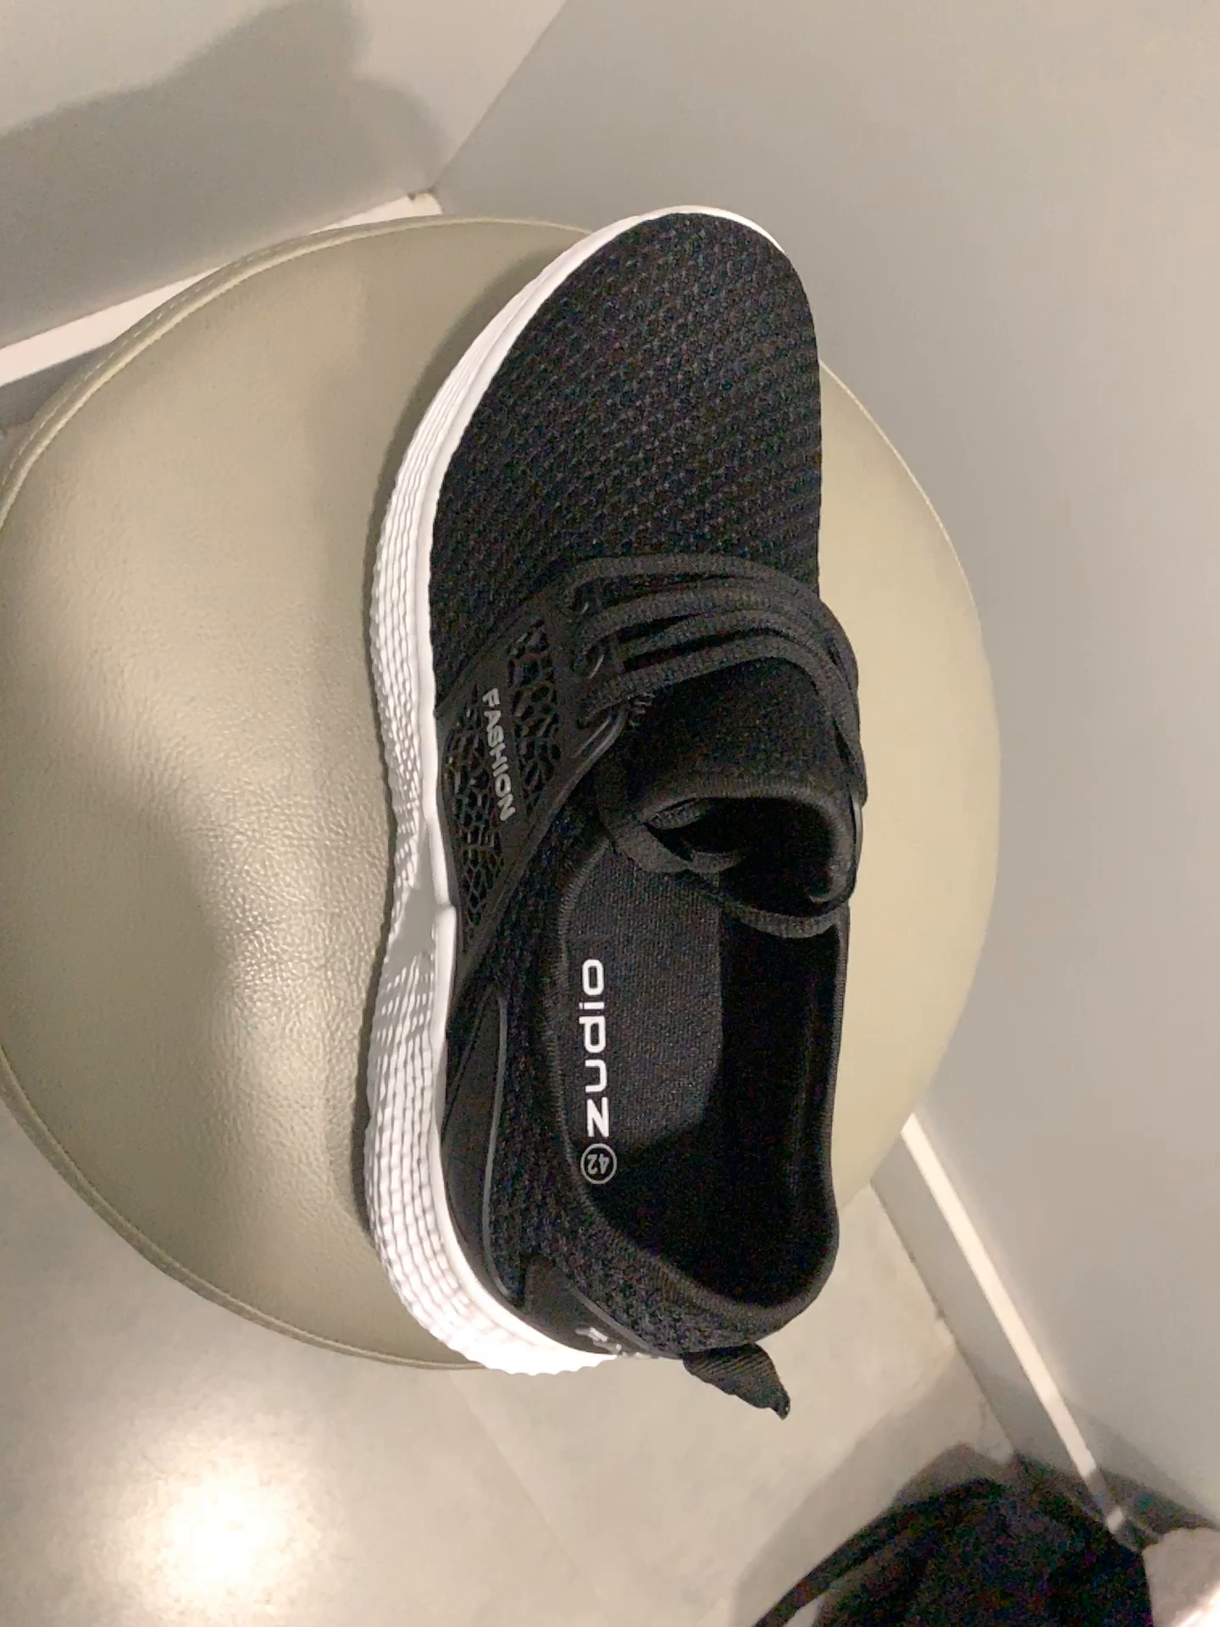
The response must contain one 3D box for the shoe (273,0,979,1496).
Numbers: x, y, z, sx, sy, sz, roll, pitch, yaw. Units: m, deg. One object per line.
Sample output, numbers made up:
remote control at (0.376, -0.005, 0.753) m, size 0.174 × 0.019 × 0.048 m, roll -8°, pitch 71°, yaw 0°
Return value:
shoe at (0.000, -0.019, 0.299) m, size 0.100 × 0.110 × 0.290 m, roll 8°, pitch 84°, yaw -27°
